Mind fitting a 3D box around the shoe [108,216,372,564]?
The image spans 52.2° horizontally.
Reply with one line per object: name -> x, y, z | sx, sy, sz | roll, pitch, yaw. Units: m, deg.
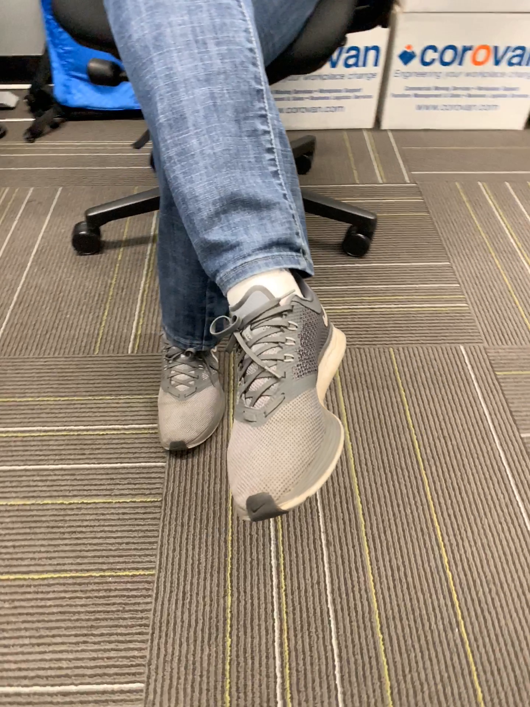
shoe -> 0.002, 0.018, 0.521 | 0.122, 0.142, 0.296 | -27, 27, 32

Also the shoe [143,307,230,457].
shoe -> -0.128, 0.041, 0.950 | 0.120, 0.085, 0.270 | 0, 47, -1
